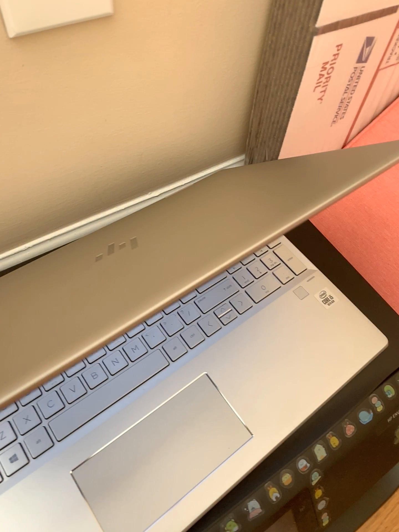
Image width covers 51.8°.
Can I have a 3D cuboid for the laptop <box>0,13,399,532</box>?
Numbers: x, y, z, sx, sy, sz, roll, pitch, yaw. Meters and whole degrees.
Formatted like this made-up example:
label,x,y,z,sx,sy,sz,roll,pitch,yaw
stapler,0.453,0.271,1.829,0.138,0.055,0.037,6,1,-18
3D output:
label,x,y,z,sx,sy,sz,roll,pitch,yaw
laptop,-0.032,0.021,0.264,0.351,0.169,0.236,-31,66,-24
